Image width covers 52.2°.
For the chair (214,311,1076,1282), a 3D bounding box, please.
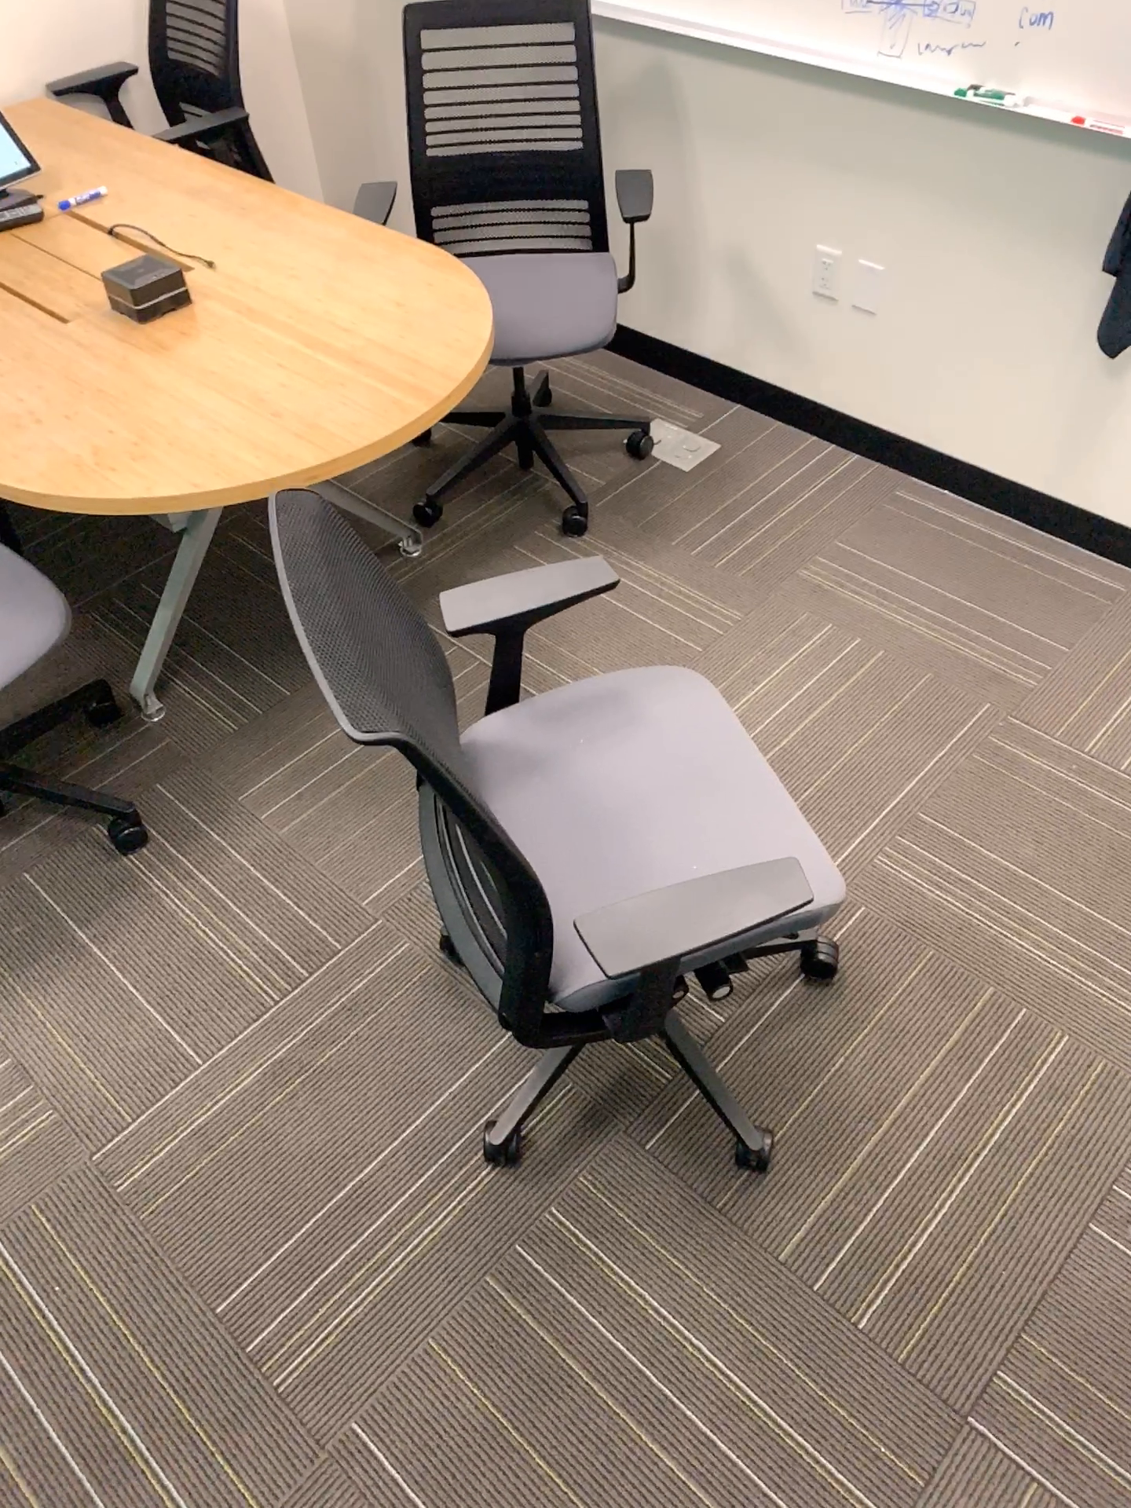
[{"bbox_3d":[0.050,0.096,1.543,0.690,0.995,0.654,-16,48,-10],"label":"chair"}]
